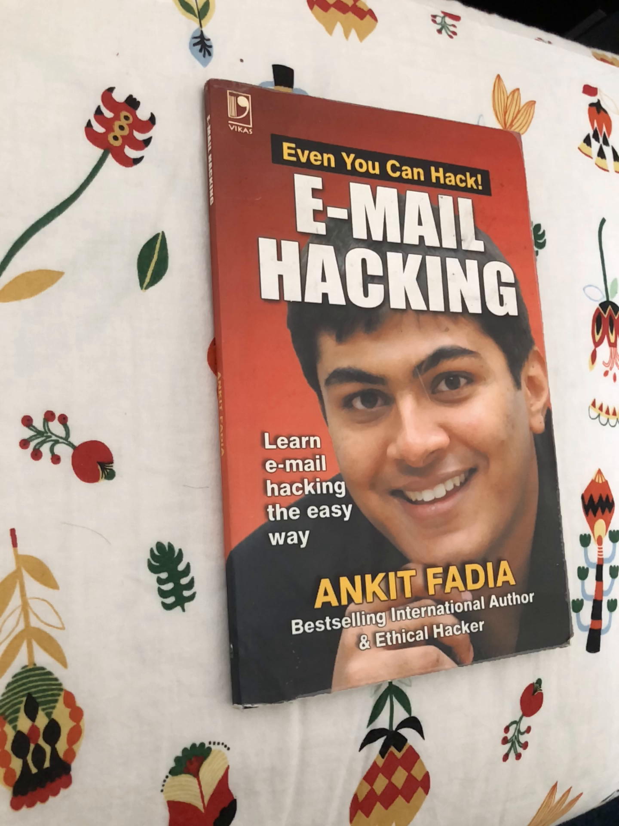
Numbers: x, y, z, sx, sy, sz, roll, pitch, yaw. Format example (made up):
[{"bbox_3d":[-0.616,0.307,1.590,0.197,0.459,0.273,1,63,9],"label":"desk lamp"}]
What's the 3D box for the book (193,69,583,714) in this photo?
[{"bbox_3d":[0.031,-0.011,0.252,0.138,0.020,0.204,-1,84,-23],"label":"book"}]
